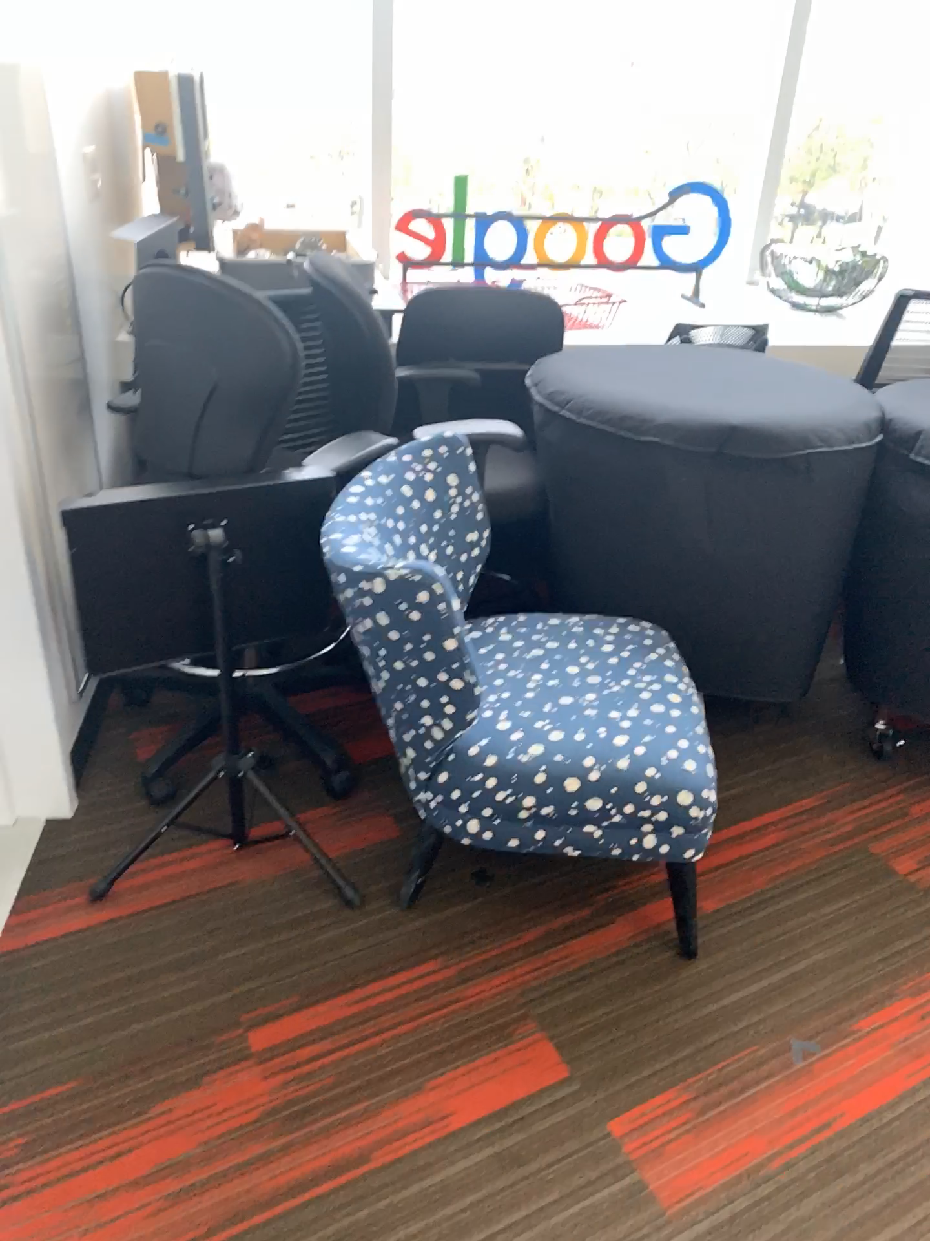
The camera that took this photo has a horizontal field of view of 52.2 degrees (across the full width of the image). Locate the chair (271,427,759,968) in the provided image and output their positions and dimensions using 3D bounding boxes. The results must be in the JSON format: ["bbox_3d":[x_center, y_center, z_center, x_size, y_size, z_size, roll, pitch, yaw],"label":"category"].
[{"bbox_3d":[0.098,0.083,2.095,0.770,0.686,1.005,5,28,3],"label":"chair"}]
